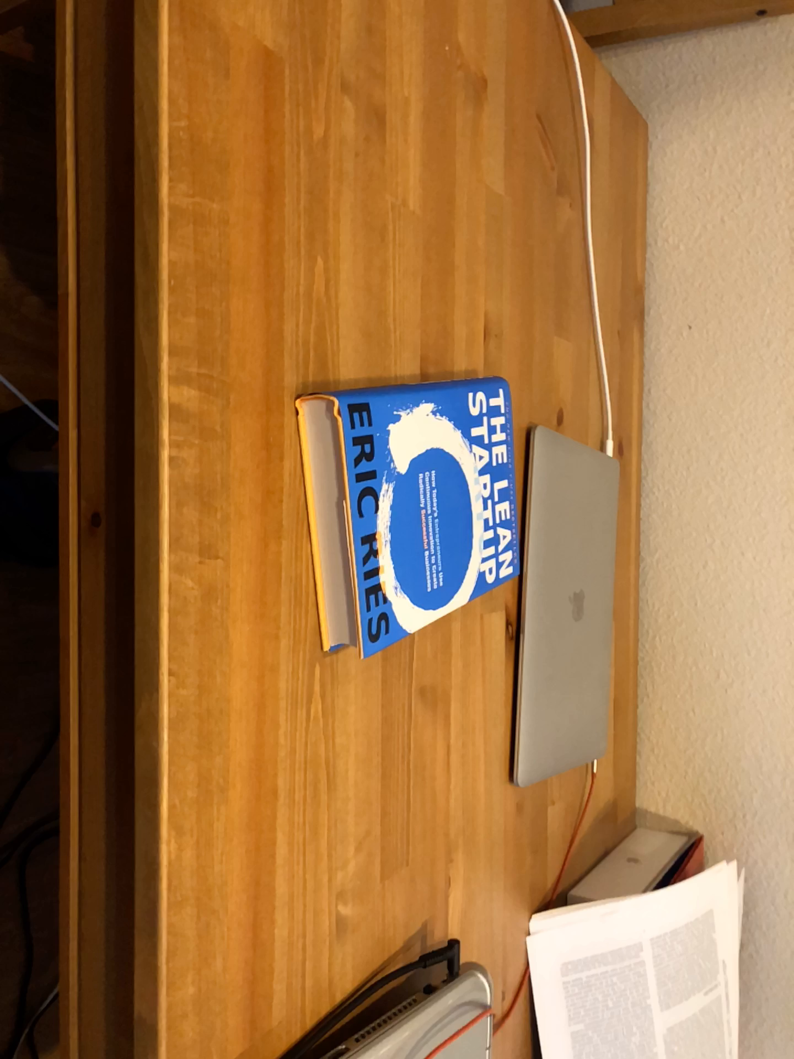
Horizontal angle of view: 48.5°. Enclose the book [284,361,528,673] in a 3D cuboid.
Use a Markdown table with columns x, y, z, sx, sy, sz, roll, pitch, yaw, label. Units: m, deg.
| x | y | z | sx | sy | sz | roll | pitch | yaw | label |
| --- | --- | --- | --- | --- | --- | --- | --- | --- | --- |
| 0.018 | -0.021 | 0.555 | 0.211 | 0.040 | 0.160 | -19 | 107 | -57 | book |
